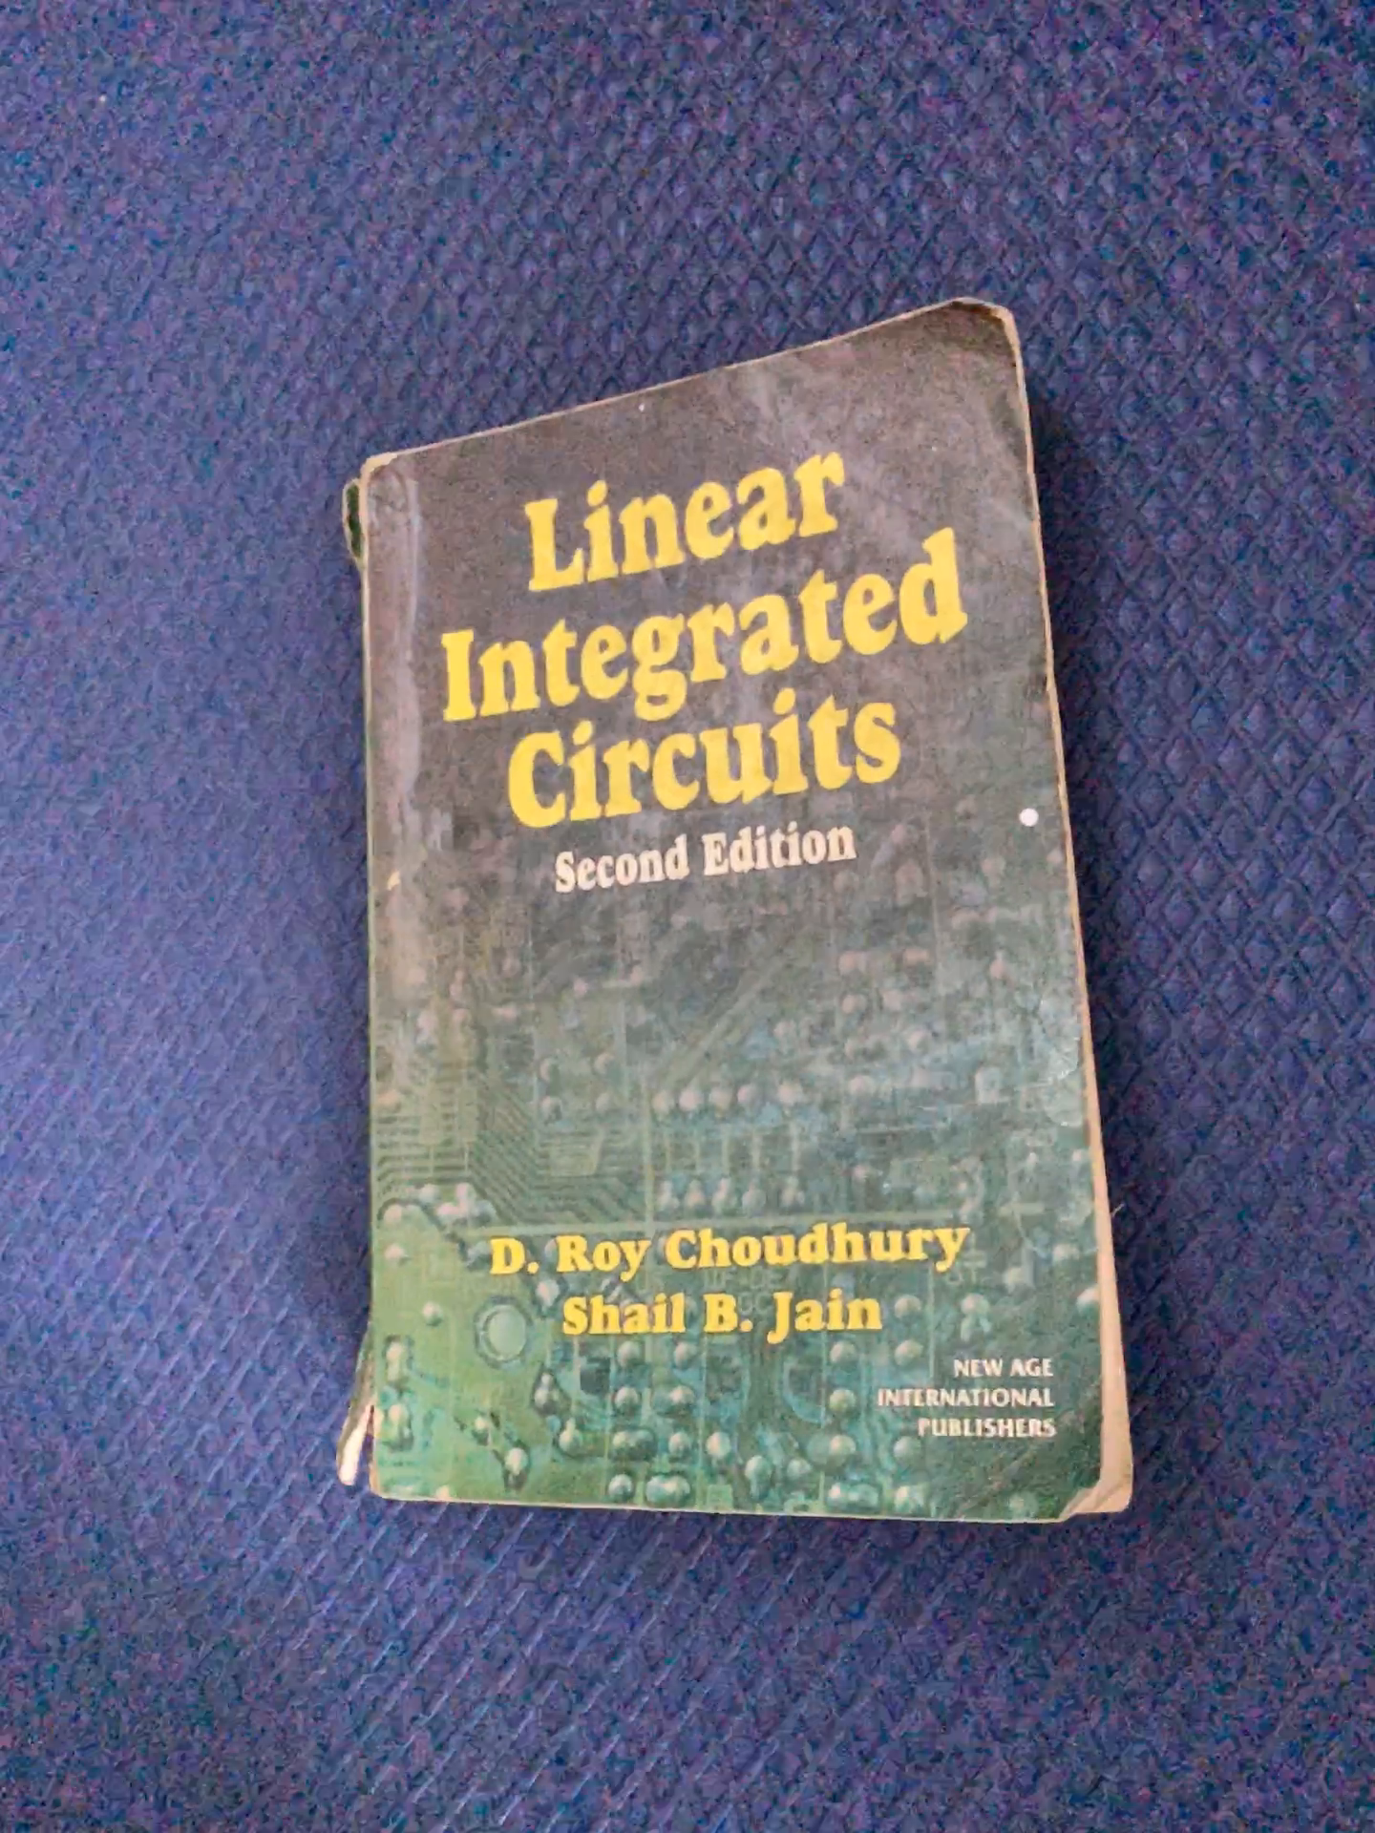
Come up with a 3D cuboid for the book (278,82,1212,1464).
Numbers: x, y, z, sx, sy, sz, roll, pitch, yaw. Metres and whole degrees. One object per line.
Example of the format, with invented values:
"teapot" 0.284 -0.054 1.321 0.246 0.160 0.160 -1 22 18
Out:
"book" 0.001 -0.026 0.319 0.190 0.040 0.270 -6 80 19
